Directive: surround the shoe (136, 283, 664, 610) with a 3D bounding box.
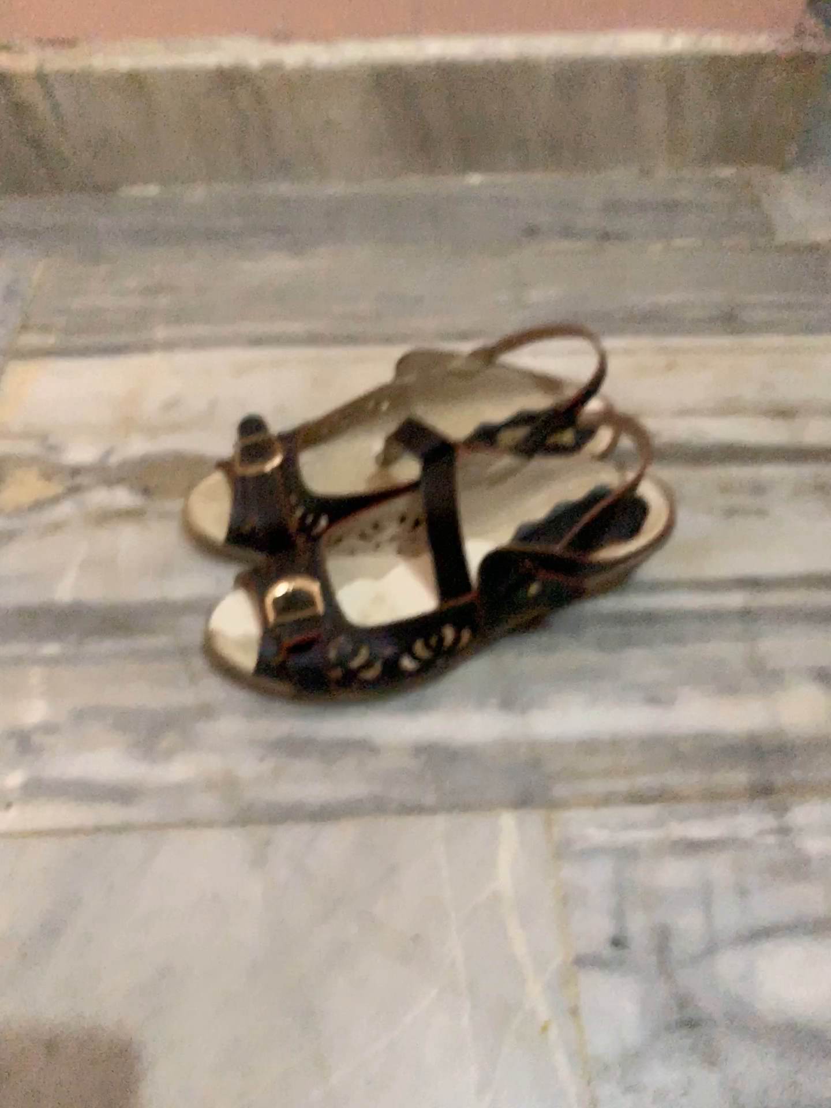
[{"bbox_3d":[-0.011,-0.063,0.496,0.260,0.100,0.100,-11,53,-9],"label":"shoe"}]

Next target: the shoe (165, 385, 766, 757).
[{"bbox_3d":[0.020,0.006,0.442,0.260,0.100,0.100,-11,53,-9],"label":"shoe"}]
